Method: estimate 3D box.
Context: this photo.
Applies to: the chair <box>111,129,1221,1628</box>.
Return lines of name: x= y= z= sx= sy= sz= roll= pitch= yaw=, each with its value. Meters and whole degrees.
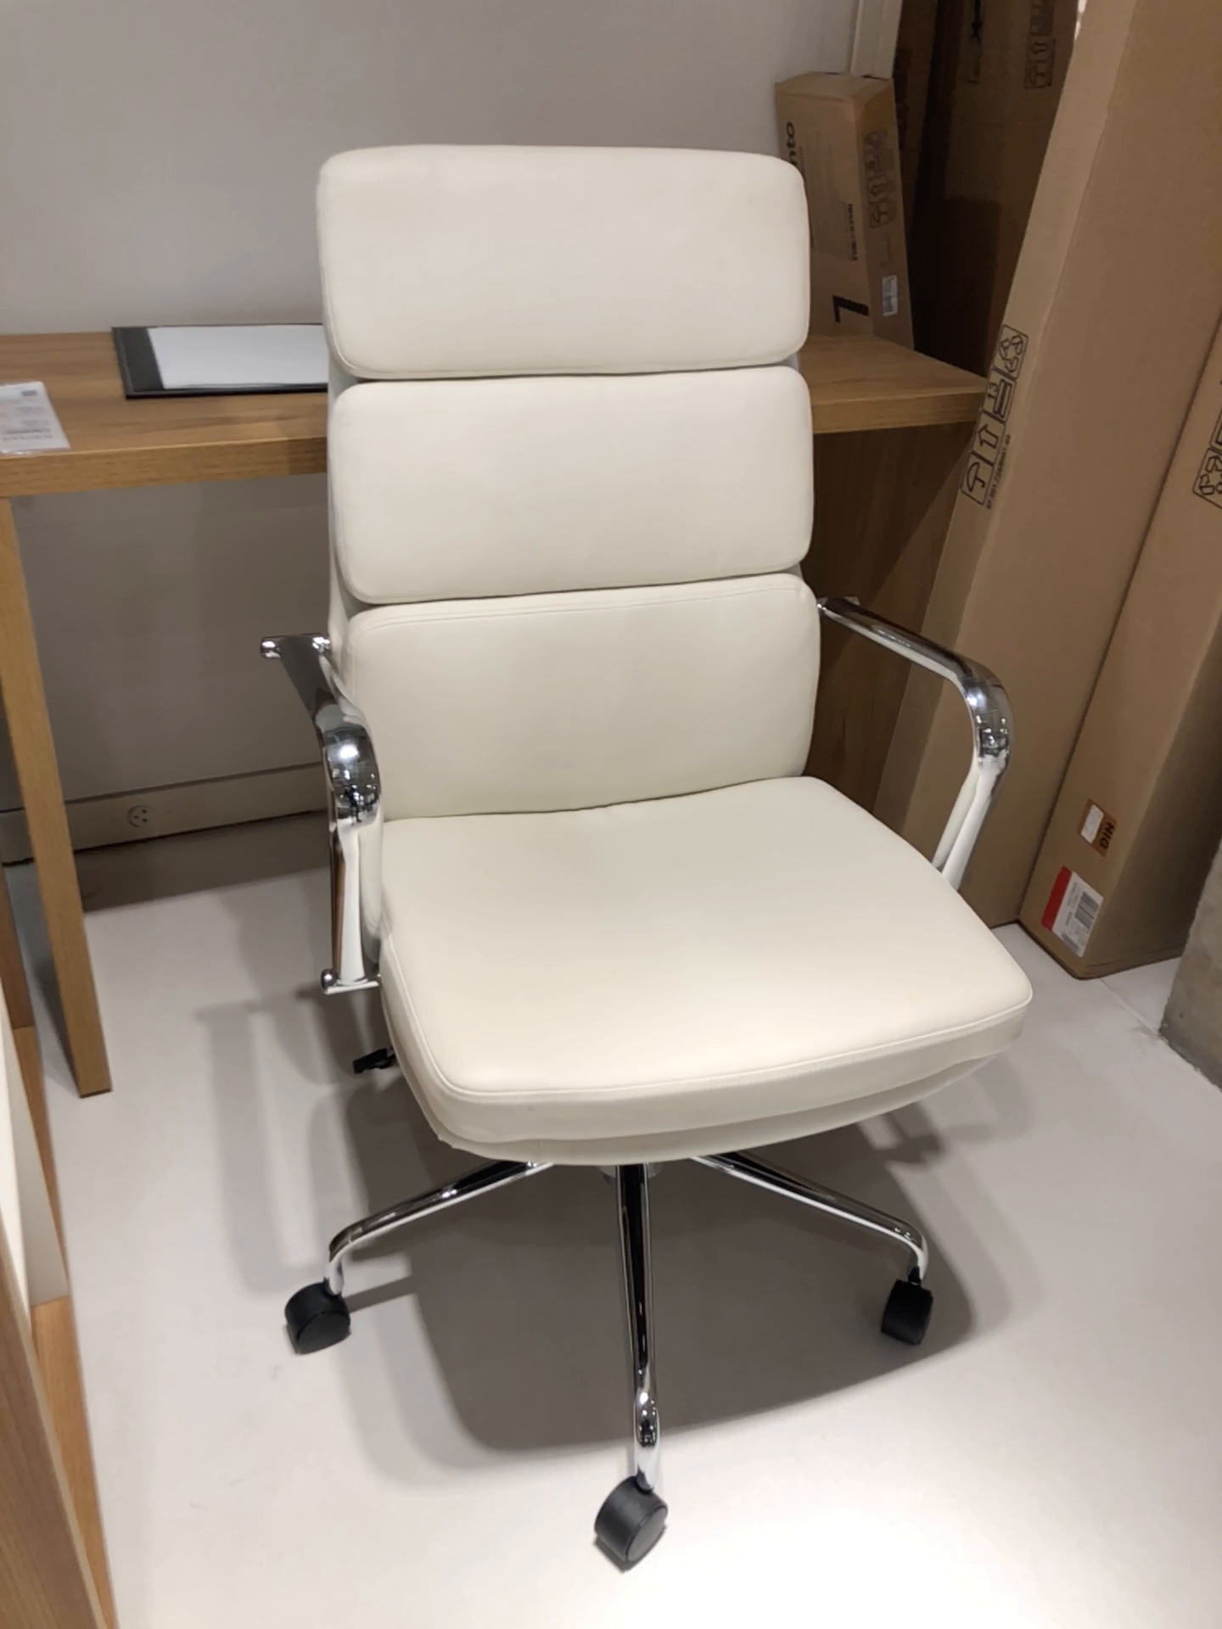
chair: x=-0.004 y=0.017 z=1.173 sx=0.641 sy=1.032 sz=0.684 roll=-9 pitch=33 yaw=-20
